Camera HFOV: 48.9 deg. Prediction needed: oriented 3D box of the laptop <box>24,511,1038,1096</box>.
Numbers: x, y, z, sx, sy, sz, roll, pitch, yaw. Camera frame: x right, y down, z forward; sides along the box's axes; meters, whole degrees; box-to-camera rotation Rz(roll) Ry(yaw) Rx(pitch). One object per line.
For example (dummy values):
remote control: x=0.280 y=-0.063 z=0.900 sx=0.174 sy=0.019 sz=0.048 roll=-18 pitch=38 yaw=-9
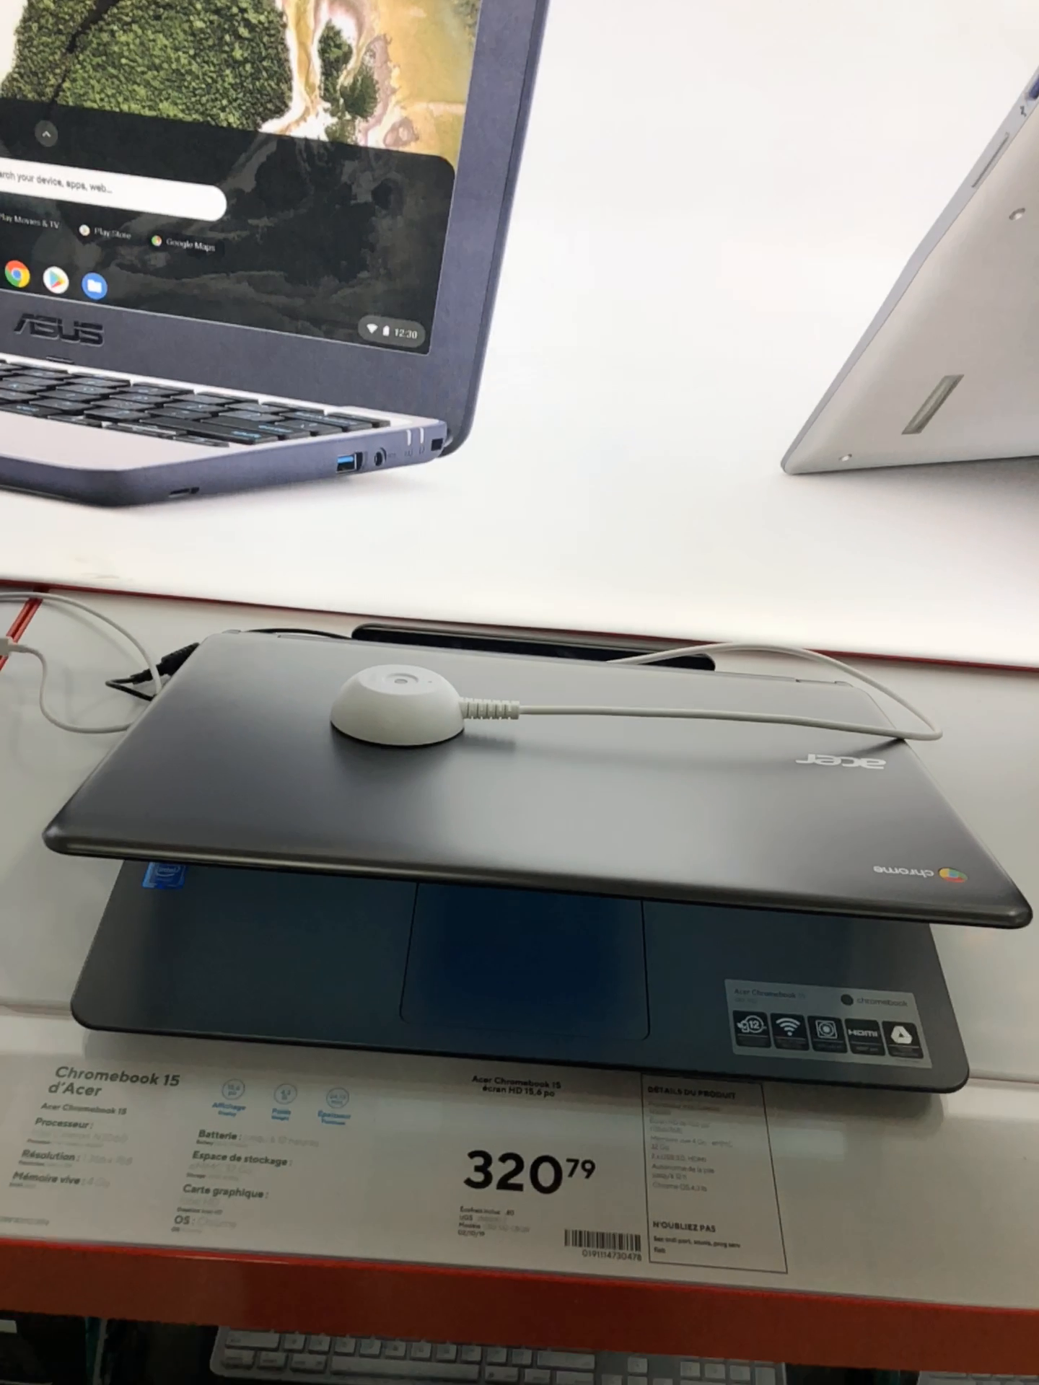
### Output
laptop: x=0.006 y=0.035 z=0.534 sx=0.369 sy=0.088 sz=0.249 roll=5 pitch=40 yaw=0
